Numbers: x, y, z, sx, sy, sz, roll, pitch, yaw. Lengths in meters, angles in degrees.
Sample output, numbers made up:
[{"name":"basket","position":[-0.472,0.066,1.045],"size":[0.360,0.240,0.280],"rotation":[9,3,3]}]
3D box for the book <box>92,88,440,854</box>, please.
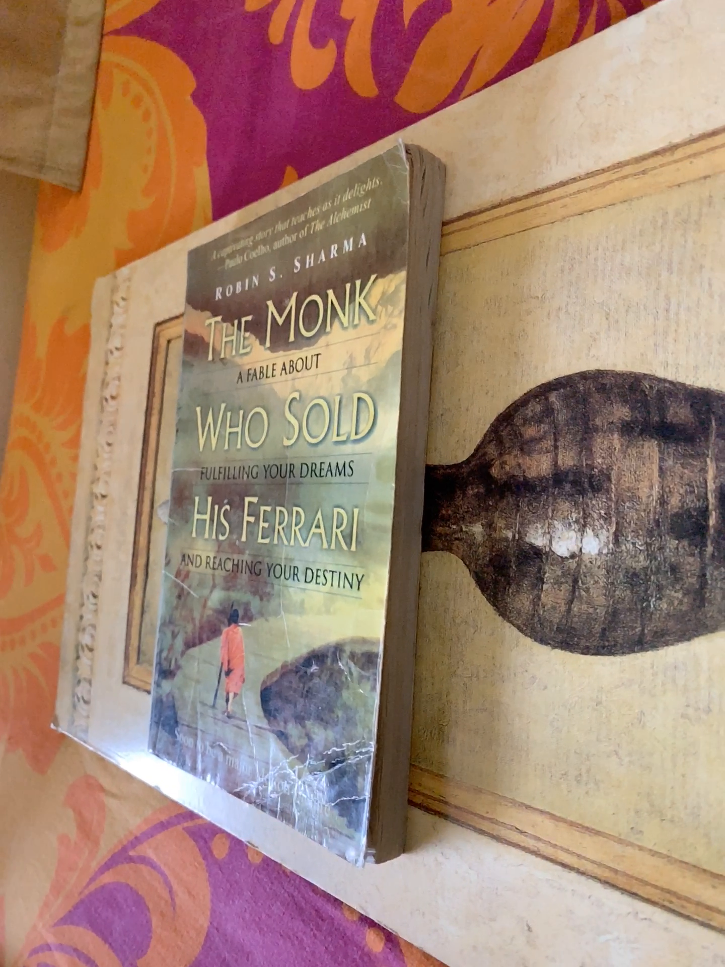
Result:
[{"name":"book","position":[-0.039,-0.005,0.253],"size":[0.131,0.030,0.200],"rotation":[-2,83,46]}]
